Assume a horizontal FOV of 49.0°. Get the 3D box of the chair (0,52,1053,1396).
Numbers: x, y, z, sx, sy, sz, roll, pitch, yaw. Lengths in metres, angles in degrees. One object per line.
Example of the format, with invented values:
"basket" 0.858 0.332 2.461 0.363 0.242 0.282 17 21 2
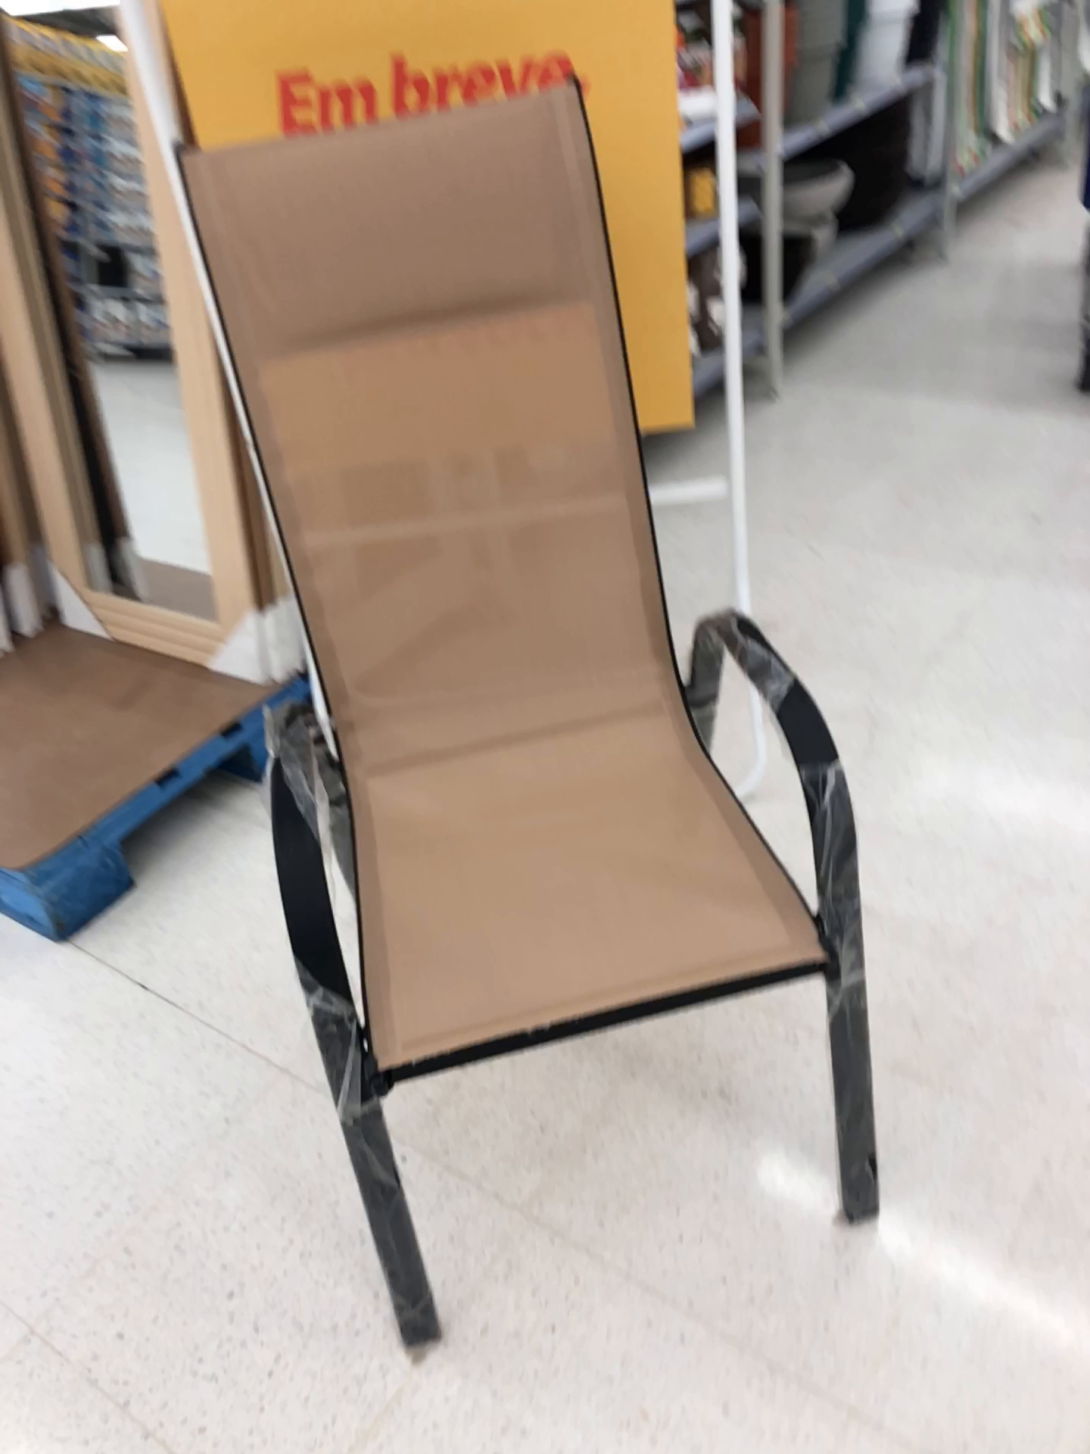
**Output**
"chair" -0.046 -0.019 1.167 0.620 0.973 0.705 -13 36 -5
